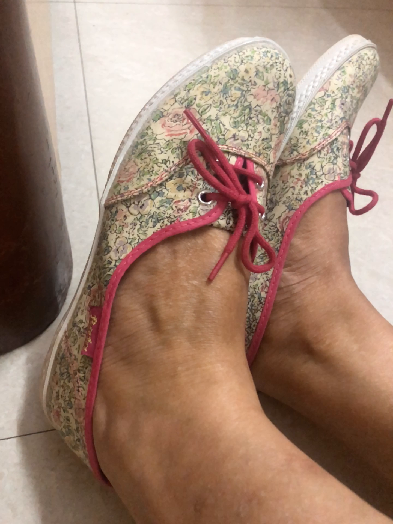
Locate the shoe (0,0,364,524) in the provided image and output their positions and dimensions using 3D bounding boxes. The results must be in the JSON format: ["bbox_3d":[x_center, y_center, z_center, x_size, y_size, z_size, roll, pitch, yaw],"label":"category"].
[{"bbox_3d":[-0.008,-0.004,0.238,0.070,0.090,0.260,21,89,49],"label":"shoe"}]

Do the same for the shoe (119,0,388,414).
[{"bbox_3d":[0.047,-0.036,0.313,0.070,0.090,0.260,23,87,21],"label":"shoe"}]
